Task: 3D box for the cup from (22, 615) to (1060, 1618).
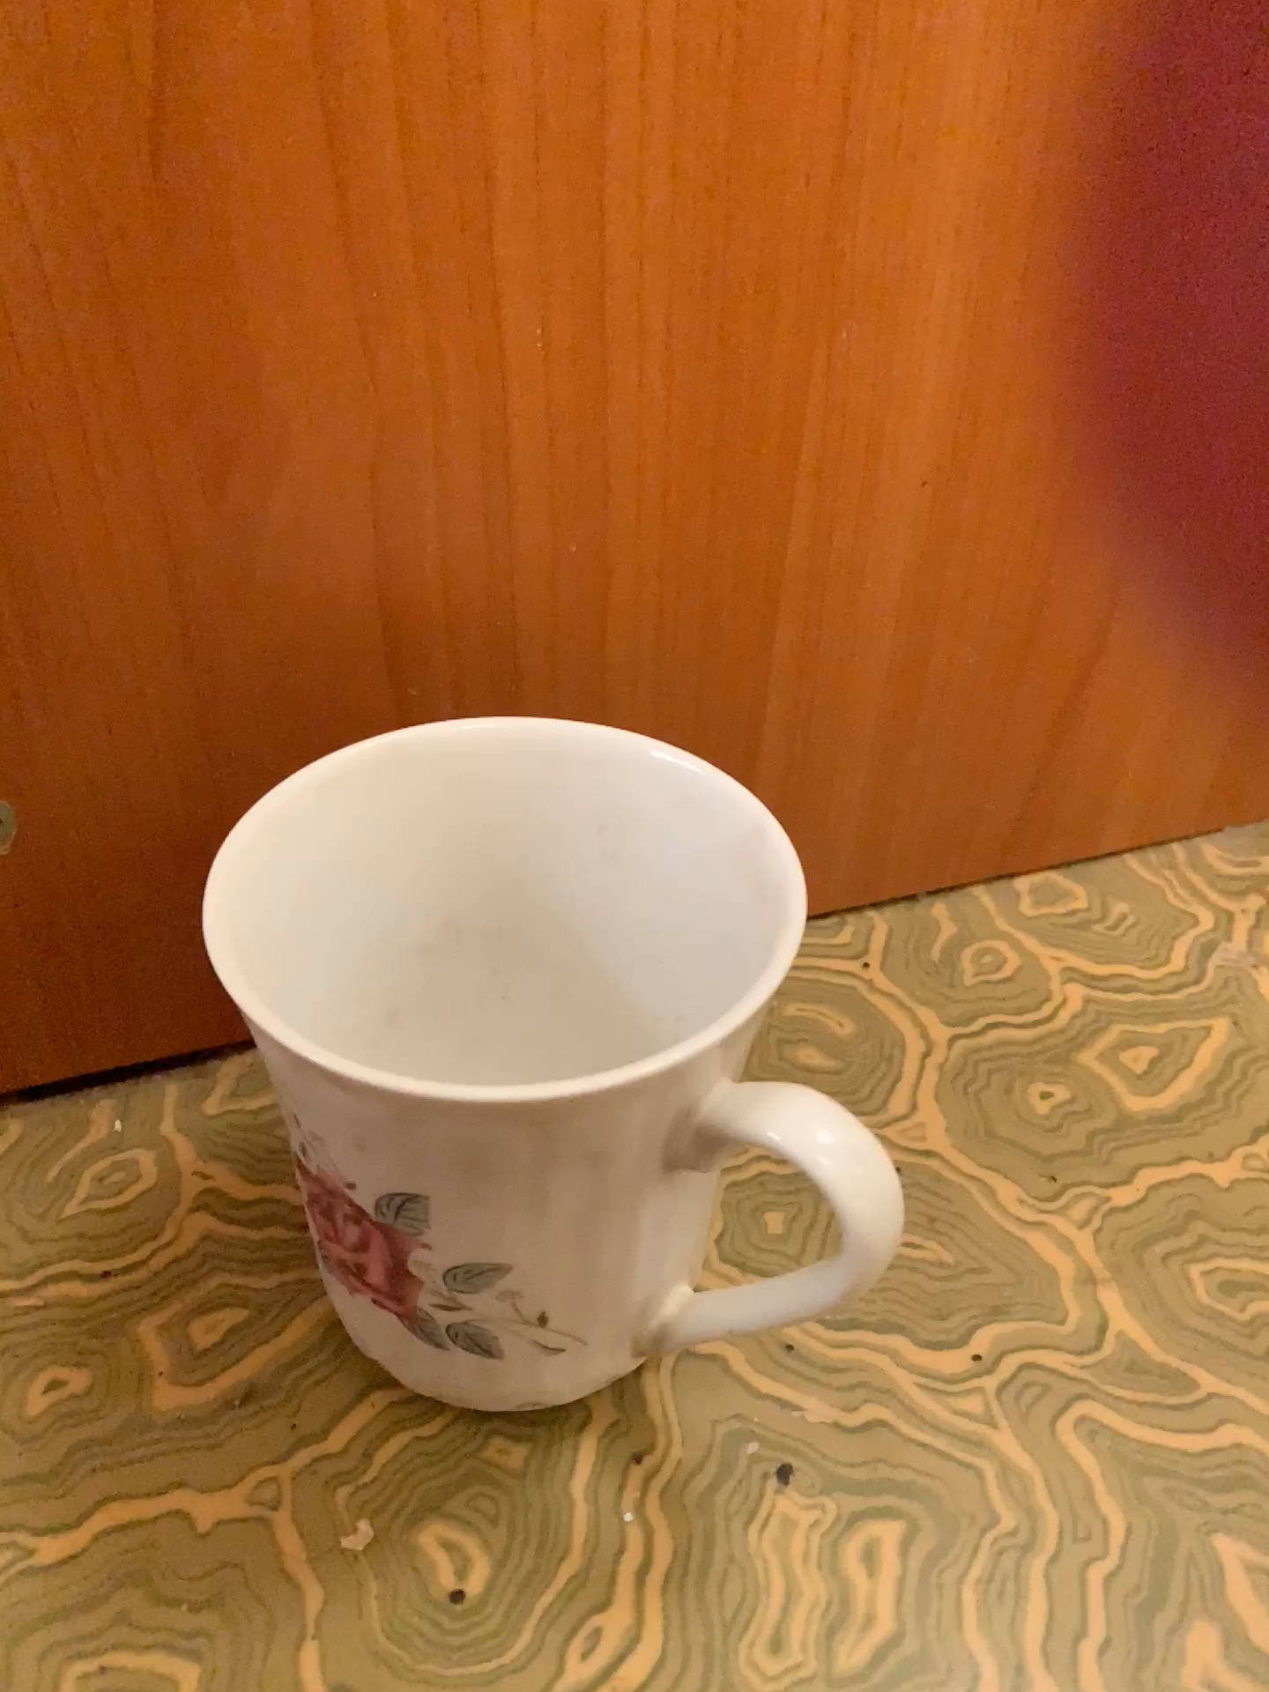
[{"bbox_3d":[-0.010,0.034,0.211,0.118,0.086,0.087,18,39,20],"label":"cup"}]
